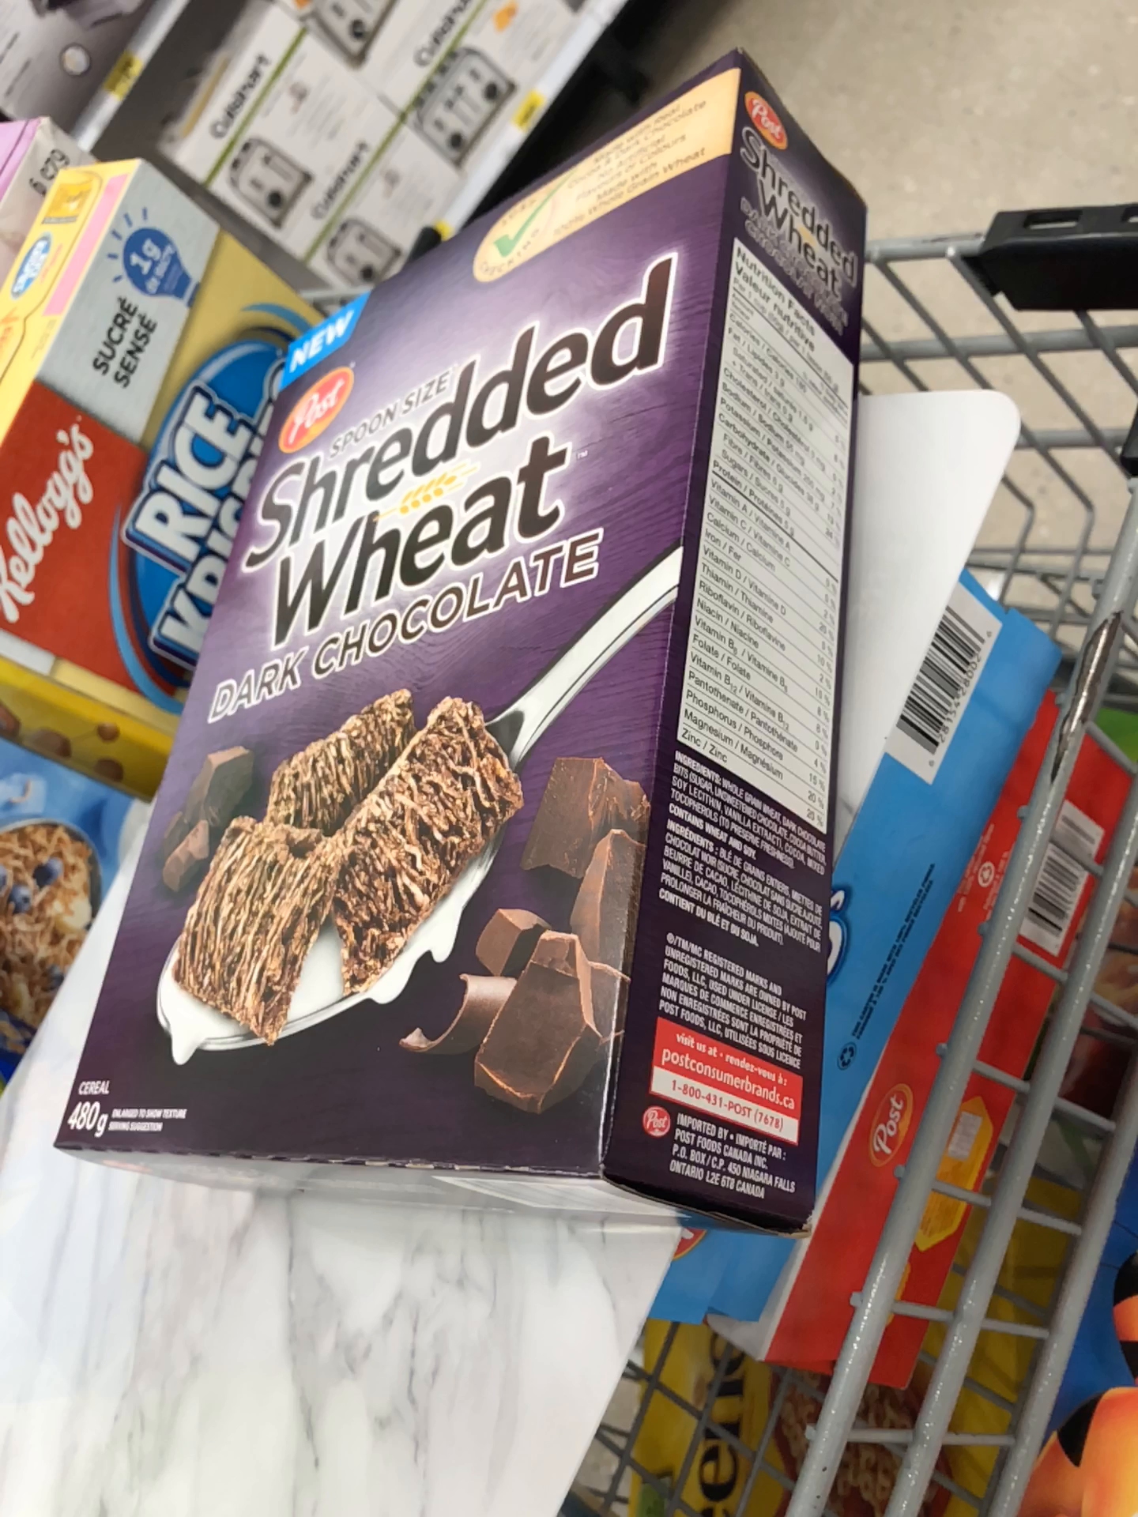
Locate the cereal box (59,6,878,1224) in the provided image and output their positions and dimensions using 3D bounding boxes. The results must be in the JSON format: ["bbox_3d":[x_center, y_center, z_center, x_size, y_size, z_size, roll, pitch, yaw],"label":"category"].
[{"bbox_3d":[-0.022,-0.034,0.356,0.191,0.070,0.290,-13,59,39],"label":"cereal box"}]
